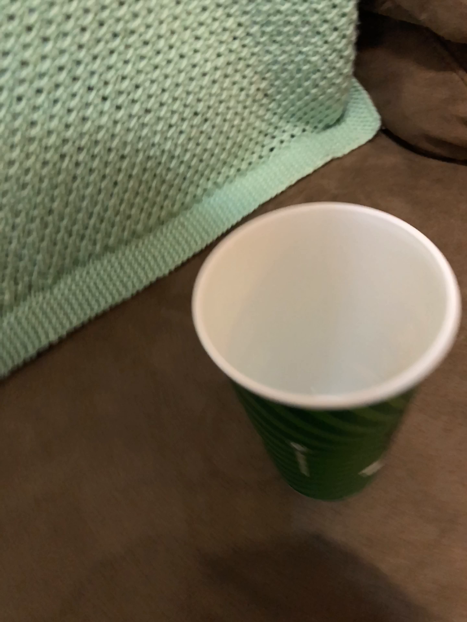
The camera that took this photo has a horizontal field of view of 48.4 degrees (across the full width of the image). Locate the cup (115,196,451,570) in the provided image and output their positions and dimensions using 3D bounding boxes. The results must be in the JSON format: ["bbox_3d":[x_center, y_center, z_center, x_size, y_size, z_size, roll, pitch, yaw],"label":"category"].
[{"bbox_3d":[0.033,0.034,0.236,0.100,0.129,0.100,-6,50,8],"label":"cup"}]
